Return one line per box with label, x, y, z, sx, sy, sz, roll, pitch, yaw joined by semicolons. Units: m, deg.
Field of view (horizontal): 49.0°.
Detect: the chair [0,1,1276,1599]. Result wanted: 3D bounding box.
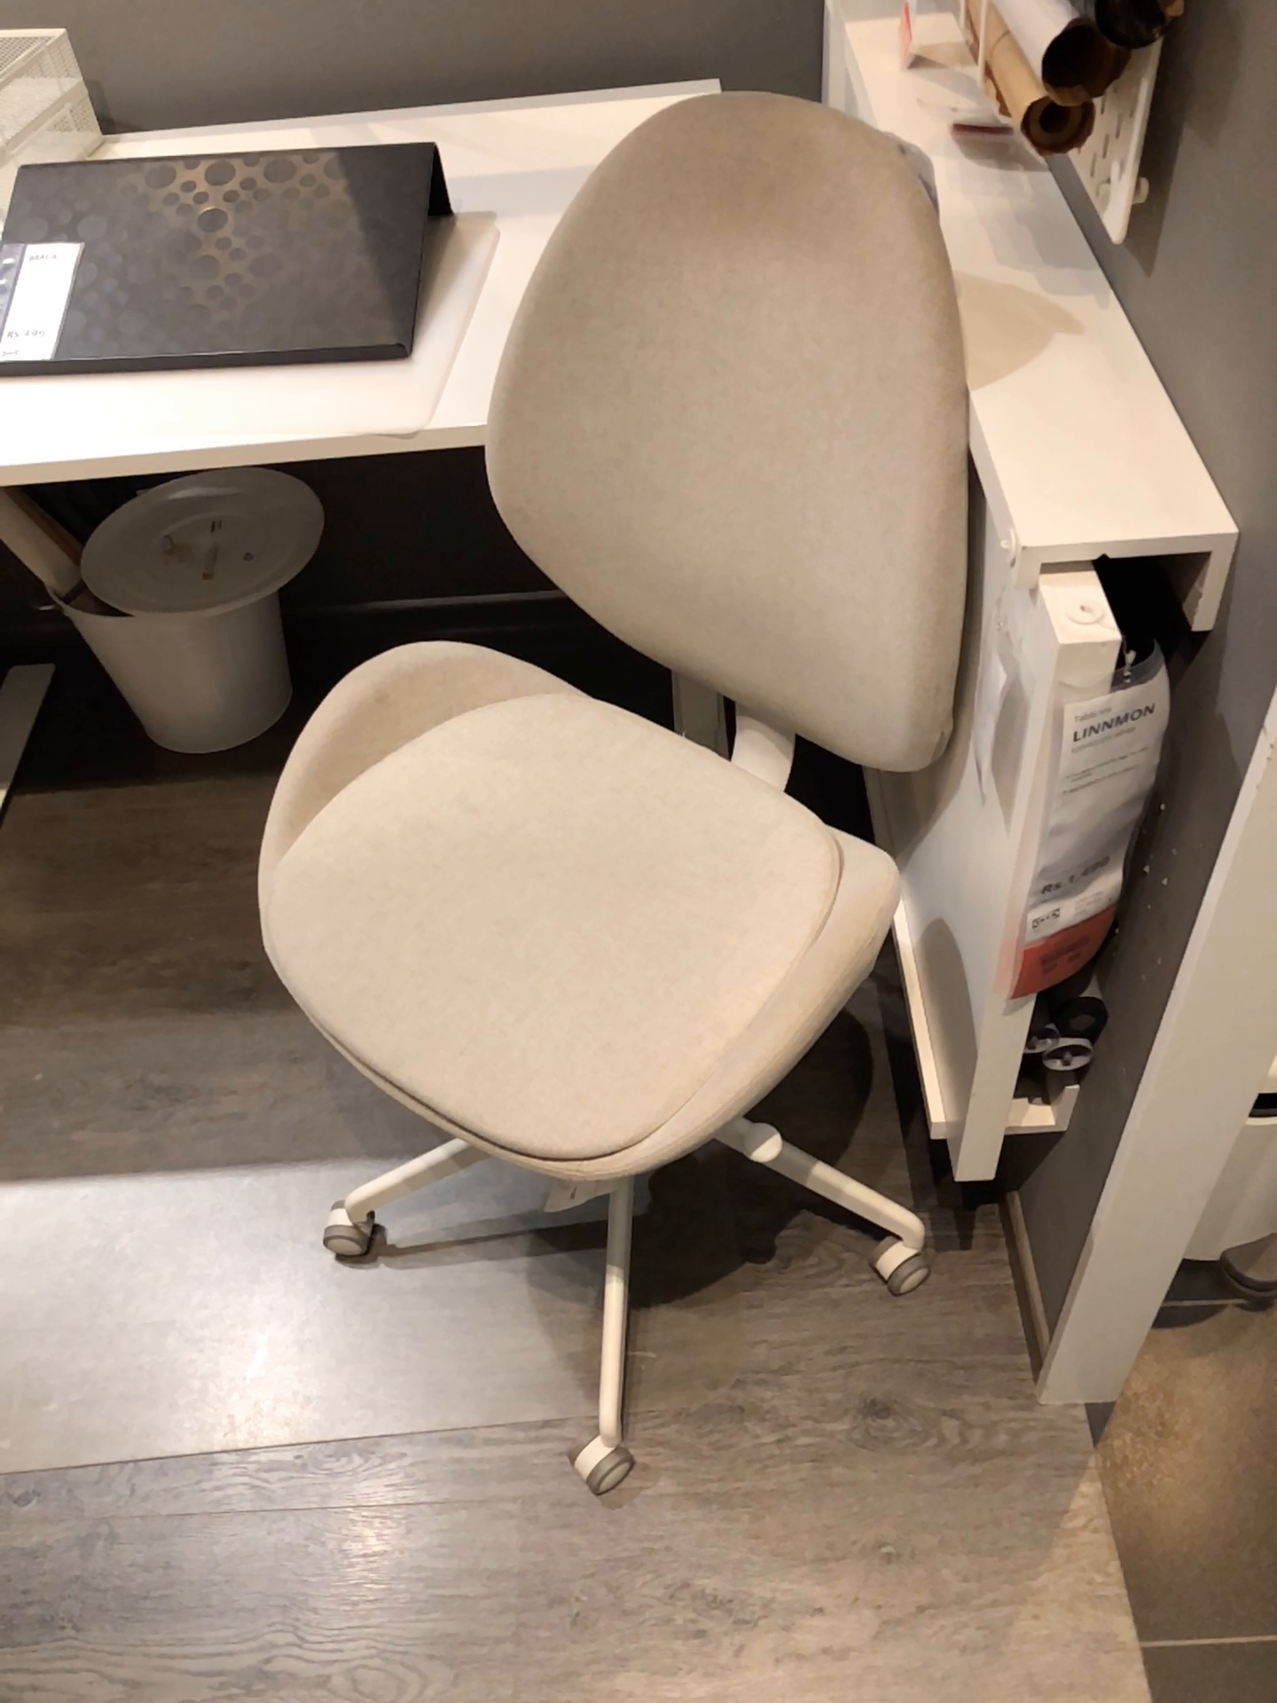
chair;-0.028;-0.029;1.192;0.682;0.964;0.682;31;58;29
